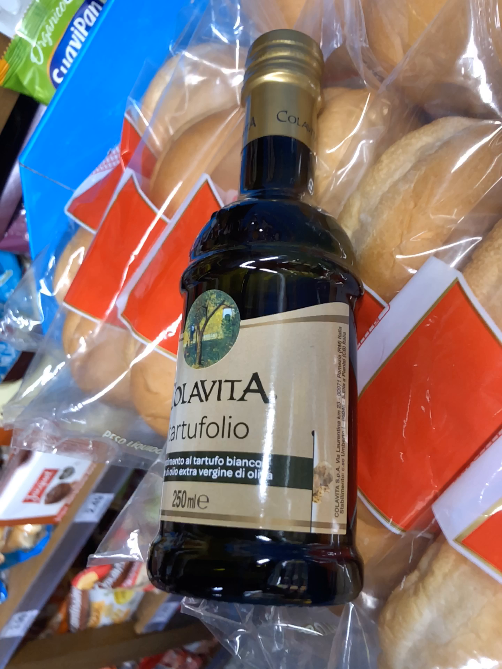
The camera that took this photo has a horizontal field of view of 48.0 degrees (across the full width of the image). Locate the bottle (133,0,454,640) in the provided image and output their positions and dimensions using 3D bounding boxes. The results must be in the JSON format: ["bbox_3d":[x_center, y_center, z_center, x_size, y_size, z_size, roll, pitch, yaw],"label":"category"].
[{"bbox_3d":[0.013,-0.025,0.191,0.070,0.060,0.210,-13,69,40],"label":"bottle"}]
